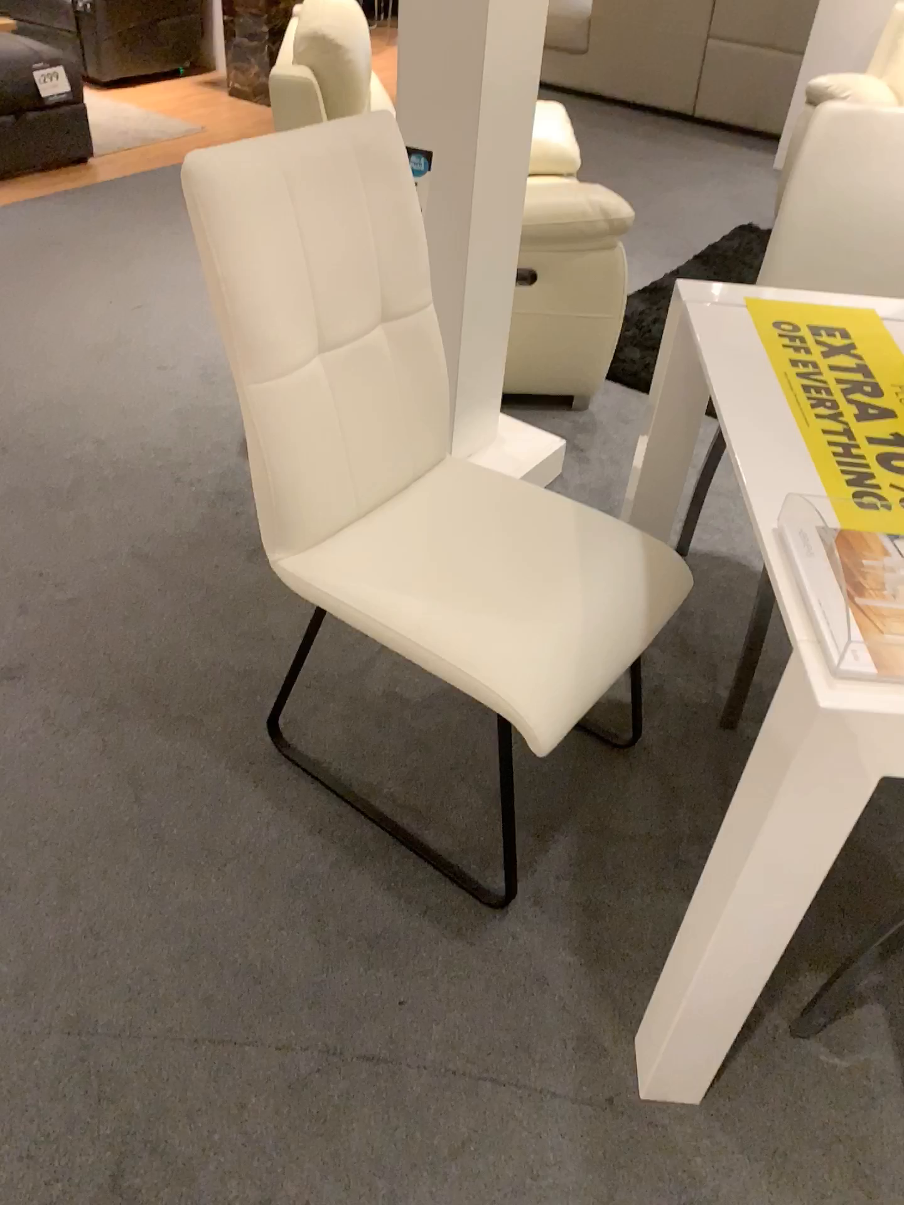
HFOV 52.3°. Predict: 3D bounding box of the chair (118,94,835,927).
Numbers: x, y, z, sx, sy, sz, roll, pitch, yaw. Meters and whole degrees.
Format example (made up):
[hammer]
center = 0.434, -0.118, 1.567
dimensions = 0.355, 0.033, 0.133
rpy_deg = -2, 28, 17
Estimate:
[chair]
center = 0.014, -0.141, 1.341
dimensions = 0.632, 0.891, 0.544
rpy_deg = 27, 45, 23
